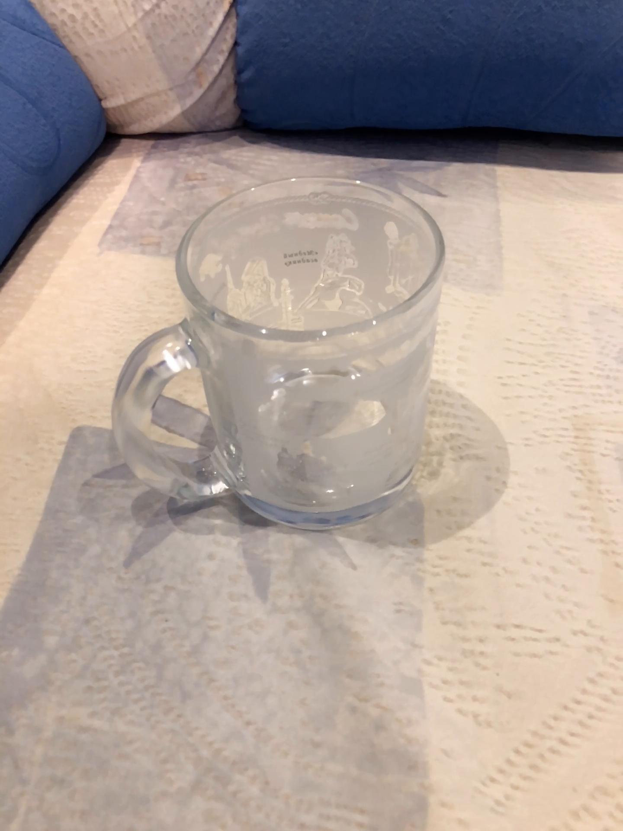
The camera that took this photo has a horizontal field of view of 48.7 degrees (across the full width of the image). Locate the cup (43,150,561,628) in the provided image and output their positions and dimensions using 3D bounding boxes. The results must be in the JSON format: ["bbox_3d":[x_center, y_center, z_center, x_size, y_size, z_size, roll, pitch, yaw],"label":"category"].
[{"bbox_3d":[-0.004,-0.014,0.226,0.120,0.079,0.090,-24,50,-17],"label":"cup"}]
